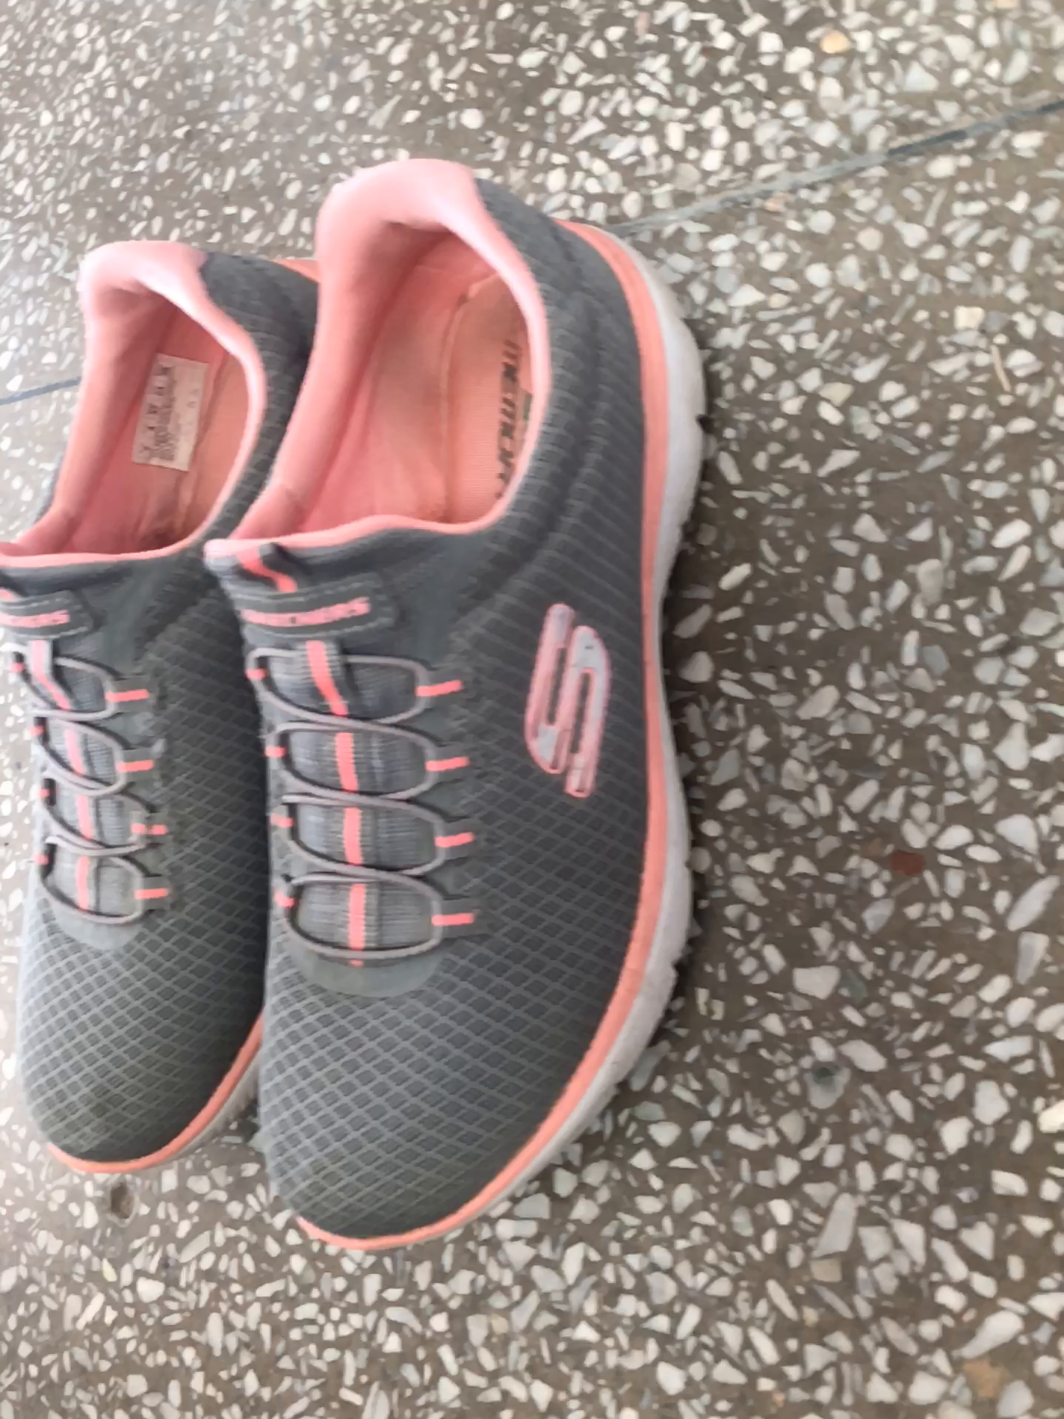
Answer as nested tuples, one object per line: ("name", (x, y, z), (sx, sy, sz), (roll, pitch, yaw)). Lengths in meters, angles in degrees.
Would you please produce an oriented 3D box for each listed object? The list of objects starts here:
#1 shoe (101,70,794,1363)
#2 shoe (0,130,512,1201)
("shoe", (-0.010, 0.000, 0.273), (0.090, 0.100, 0.230), (5, 84, 29))
("shoe", (-0.084, -0.011, 0.326), (0.090, 0.100, 0.240), (5, 84, 29))
